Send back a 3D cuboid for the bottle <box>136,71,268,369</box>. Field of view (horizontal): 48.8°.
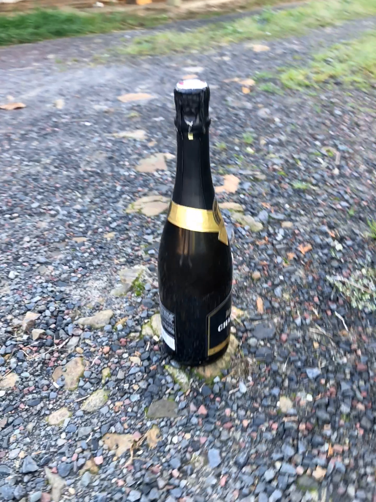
[{"bbox_3d":[0.015,-0.019,0.436,0.100,0.298,0.101,-1,32,1],"label":"bottle"}]
